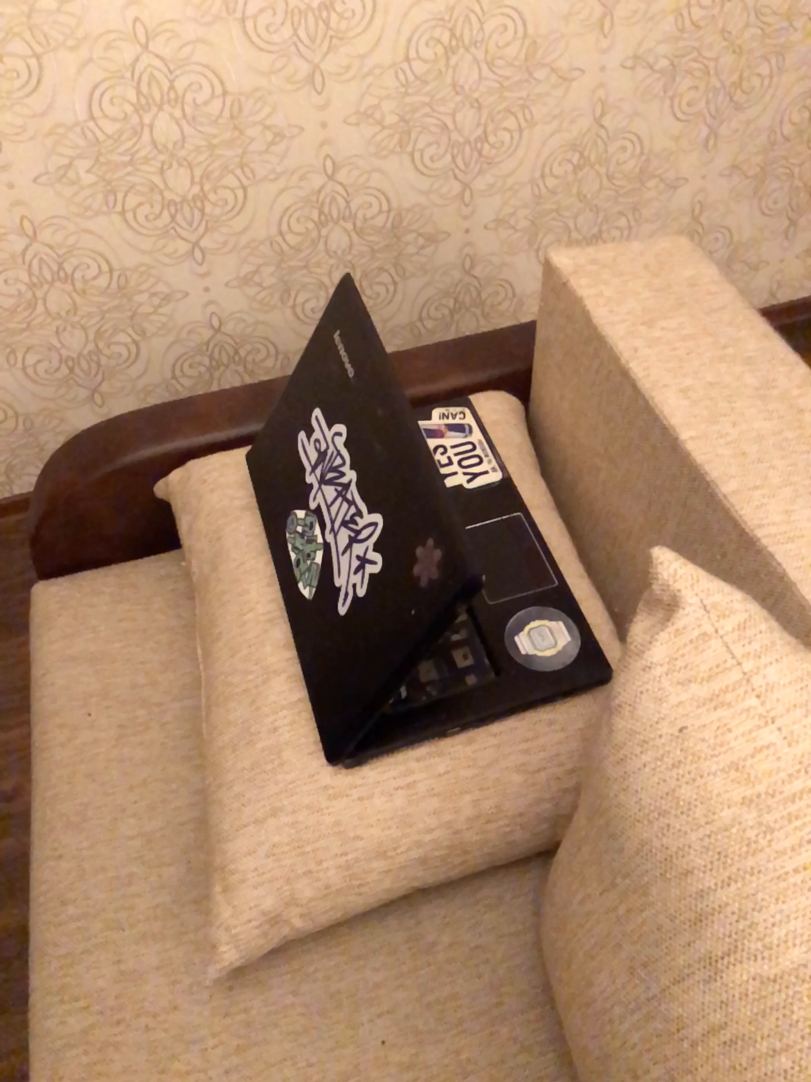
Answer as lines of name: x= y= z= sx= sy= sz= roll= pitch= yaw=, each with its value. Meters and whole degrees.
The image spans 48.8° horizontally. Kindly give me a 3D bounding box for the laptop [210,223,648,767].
laptop: x=-0.001 y=-0.062 z=0.863 sx=0.267 sy=0.223 sz=0.414 roll=-16 pitch=51 yaw=-7
